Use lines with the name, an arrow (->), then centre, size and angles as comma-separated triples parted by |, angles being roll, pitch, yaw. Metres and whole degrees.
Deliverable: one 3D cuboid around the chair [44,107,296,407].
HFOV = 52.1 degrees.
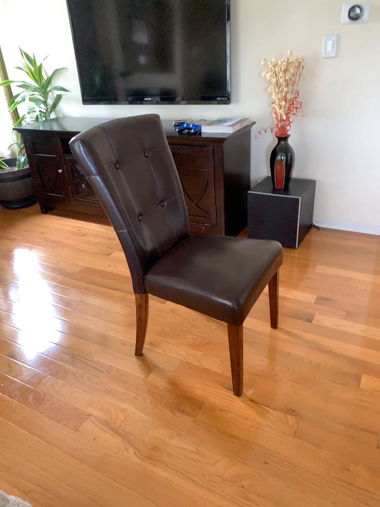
chair -> -0.025, -0.042, 1.596 | 0.722, 0.977, 0.541 | 11, 31, 27
